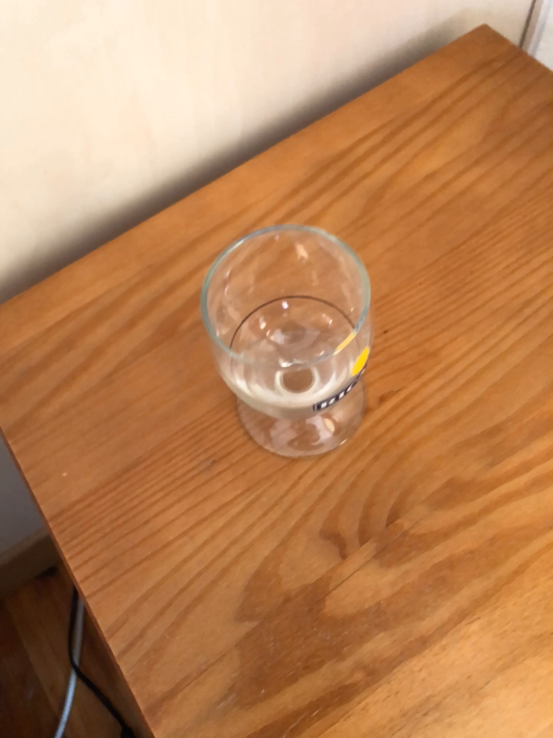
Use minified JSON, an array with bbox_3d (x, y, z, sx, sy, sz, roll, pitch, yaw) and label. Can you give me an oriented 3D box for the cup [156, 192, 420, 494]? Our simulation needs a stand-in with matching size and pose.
[{"bbox_3d":[0.008,-0.006,0.266,0.069,0.098,0.070,-2,64,4],"label":"cup"}]
